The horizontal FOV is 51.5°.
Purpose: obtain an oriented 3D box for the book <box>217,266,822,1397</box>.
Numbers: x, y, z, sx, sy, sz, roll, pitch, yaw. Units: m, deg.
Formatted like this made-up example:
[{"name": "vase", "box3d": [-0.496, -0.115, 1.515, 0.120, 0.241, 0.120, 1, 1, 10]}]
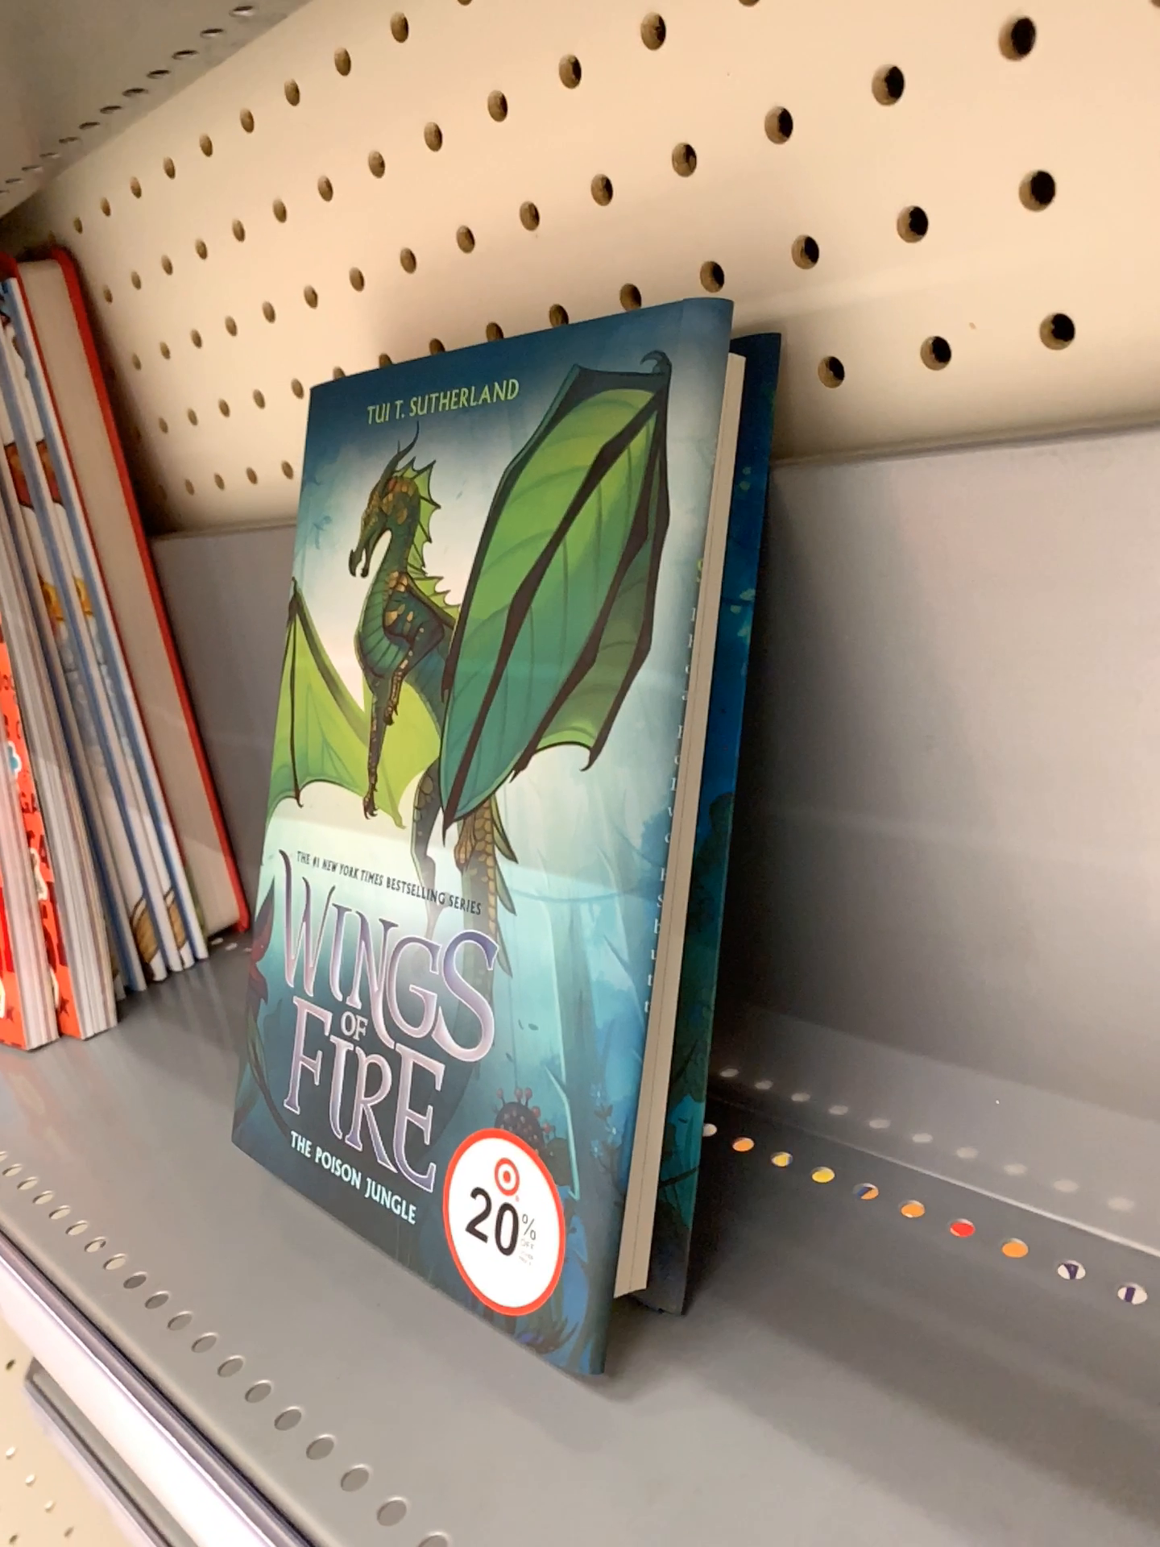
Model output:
[{"name": "book", "box3d": [-0.026, 0.005, 0.294, 0.036, 0.215, 0.151, 6, 2, -43]}]
